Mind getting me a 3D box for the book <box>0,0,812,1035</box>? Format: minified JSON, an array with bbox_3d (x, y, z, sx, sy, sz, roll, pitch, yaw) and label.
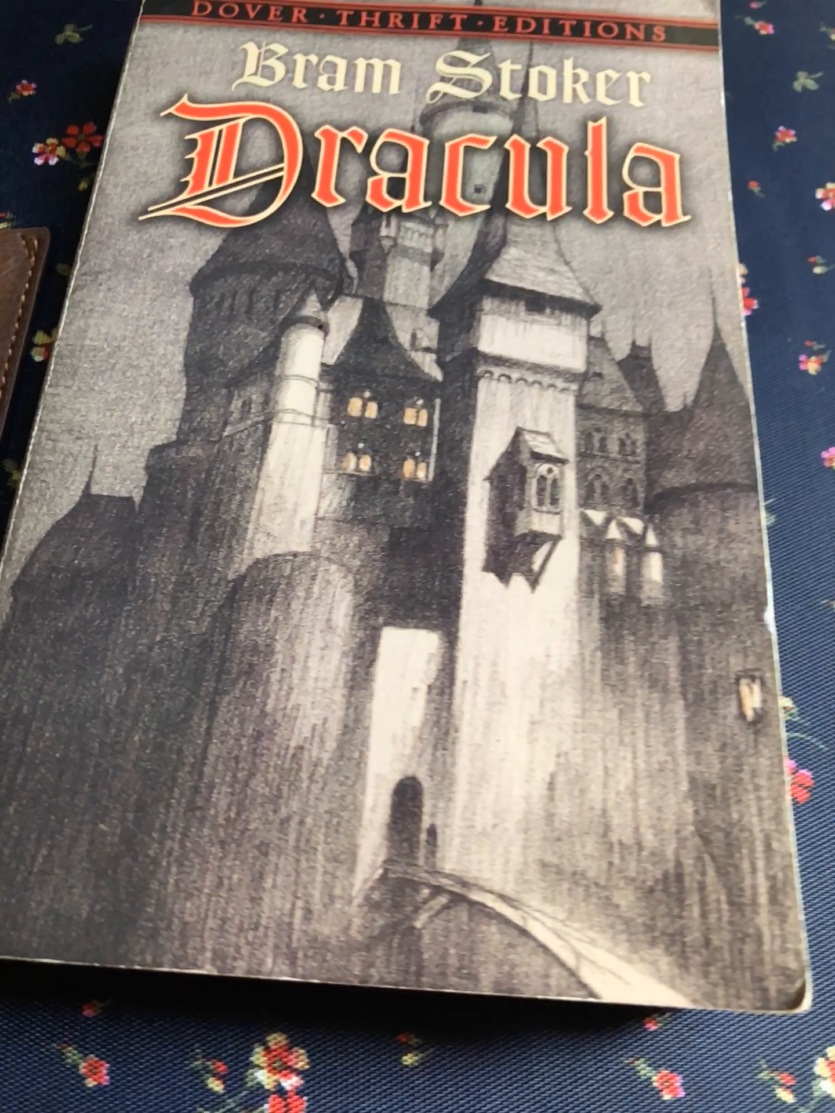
[{"bbox_3d":[-0.005,-0.026,0.182,0.130,0.033,0.203,3,68,1],"label":"book"}]
